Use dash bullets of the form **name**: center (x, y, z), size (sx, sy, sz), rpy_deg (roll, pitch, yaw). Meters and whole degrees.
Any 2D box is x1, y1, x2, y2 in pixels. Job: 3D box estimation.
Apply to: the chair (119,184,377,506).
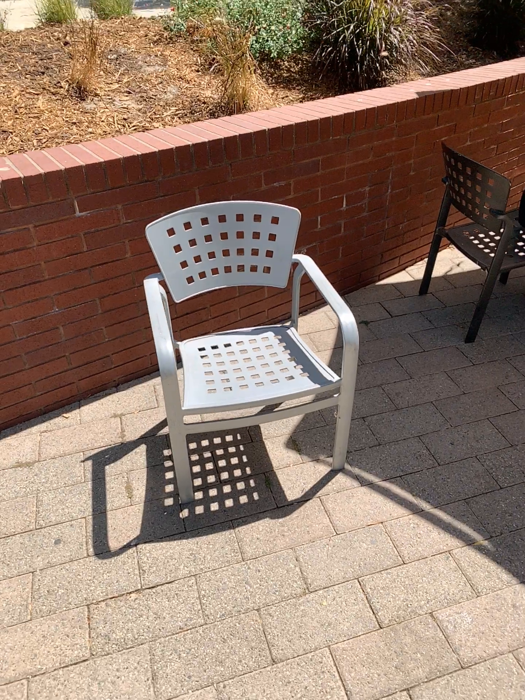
- **chair**: center (-0.062, -0.029, 1.618), size (0.558, 0.718, 0.493), rpy_deg (-11, 36, -13)
